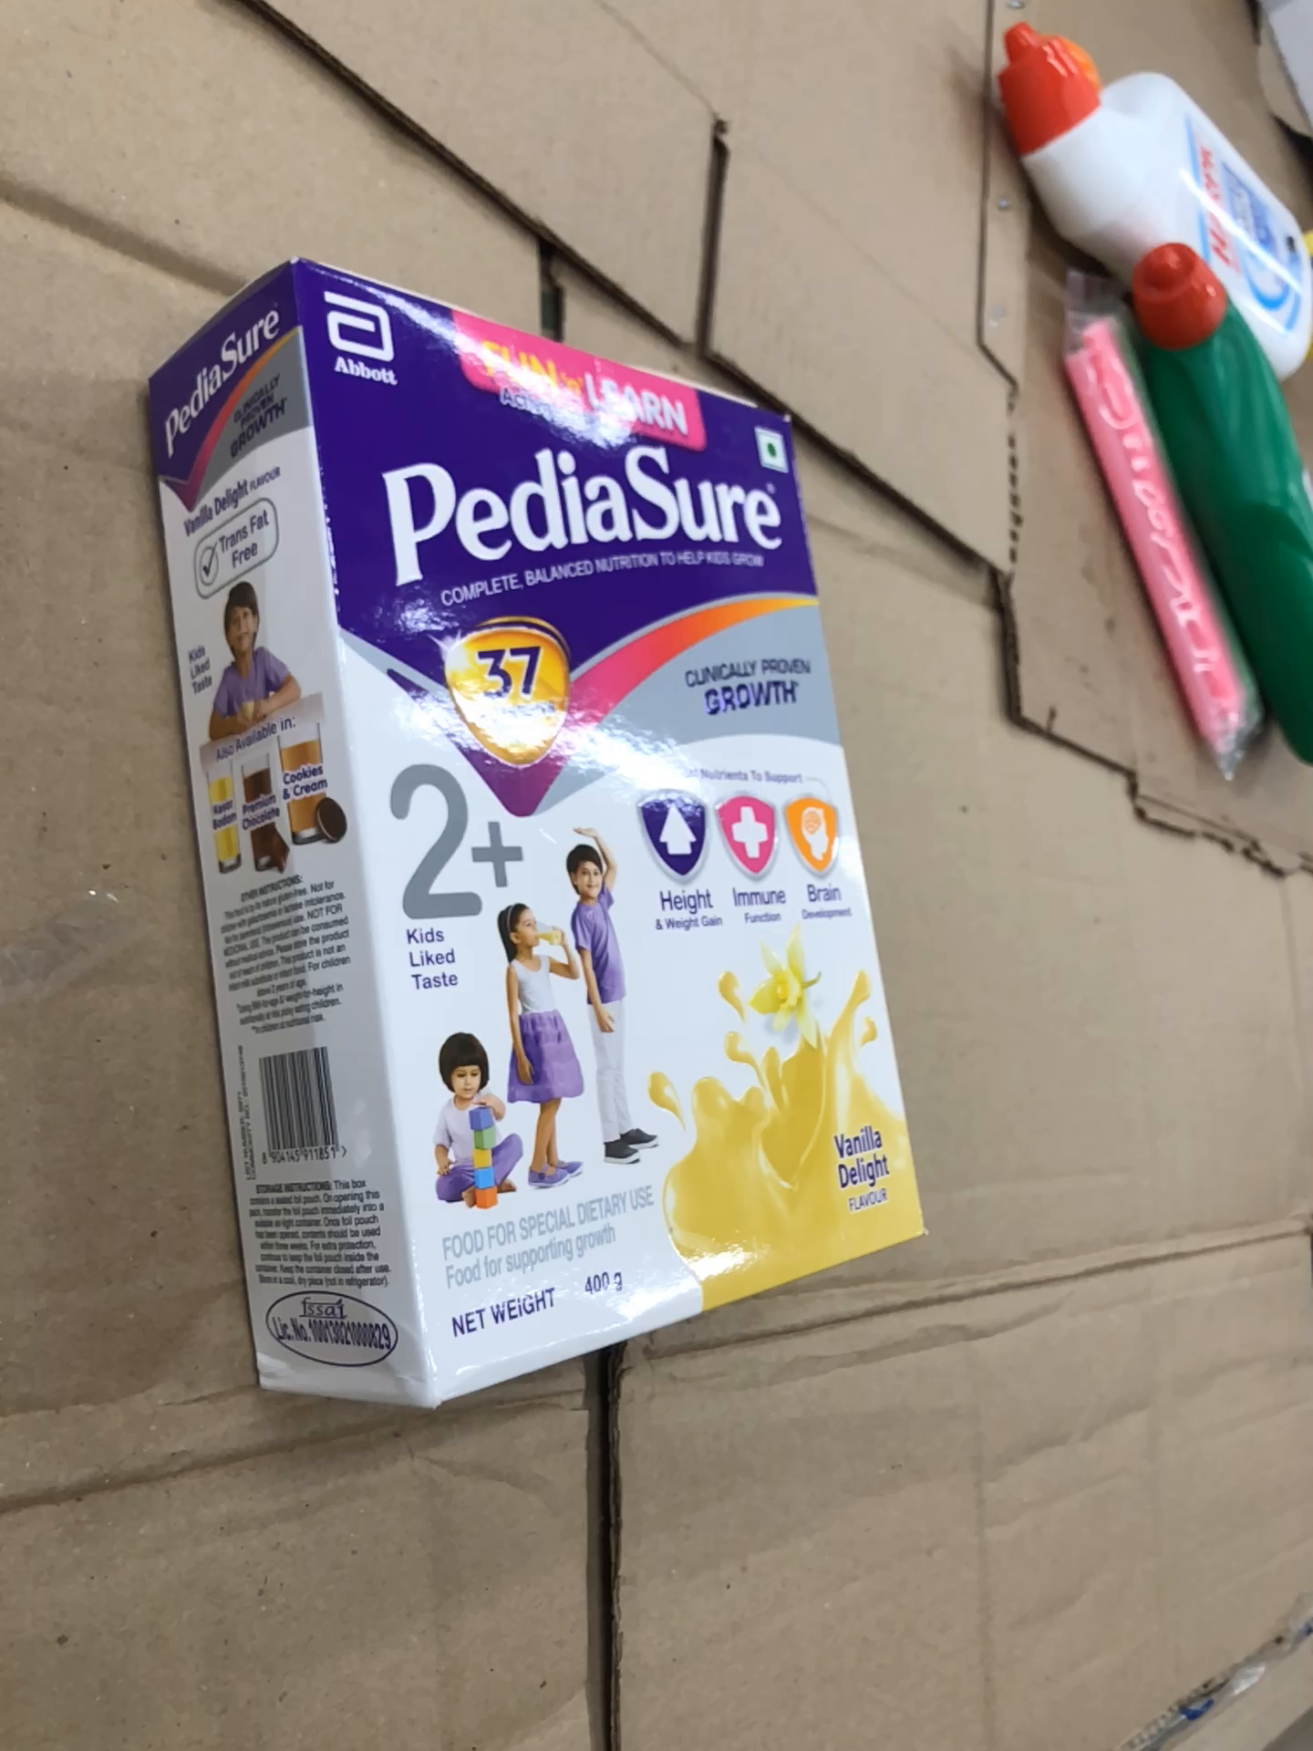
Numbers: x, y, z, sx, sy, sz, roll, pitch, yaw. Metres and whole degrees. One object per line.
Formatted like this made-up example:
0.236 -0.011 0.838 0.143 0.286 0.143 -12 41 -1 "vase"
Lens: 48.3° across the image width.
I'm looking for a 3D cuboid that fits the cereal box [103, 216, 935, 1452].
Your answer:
-0.020 -0.007 0.289 0.141 0.050 0.190 -1 80 -47 "cereal box"
